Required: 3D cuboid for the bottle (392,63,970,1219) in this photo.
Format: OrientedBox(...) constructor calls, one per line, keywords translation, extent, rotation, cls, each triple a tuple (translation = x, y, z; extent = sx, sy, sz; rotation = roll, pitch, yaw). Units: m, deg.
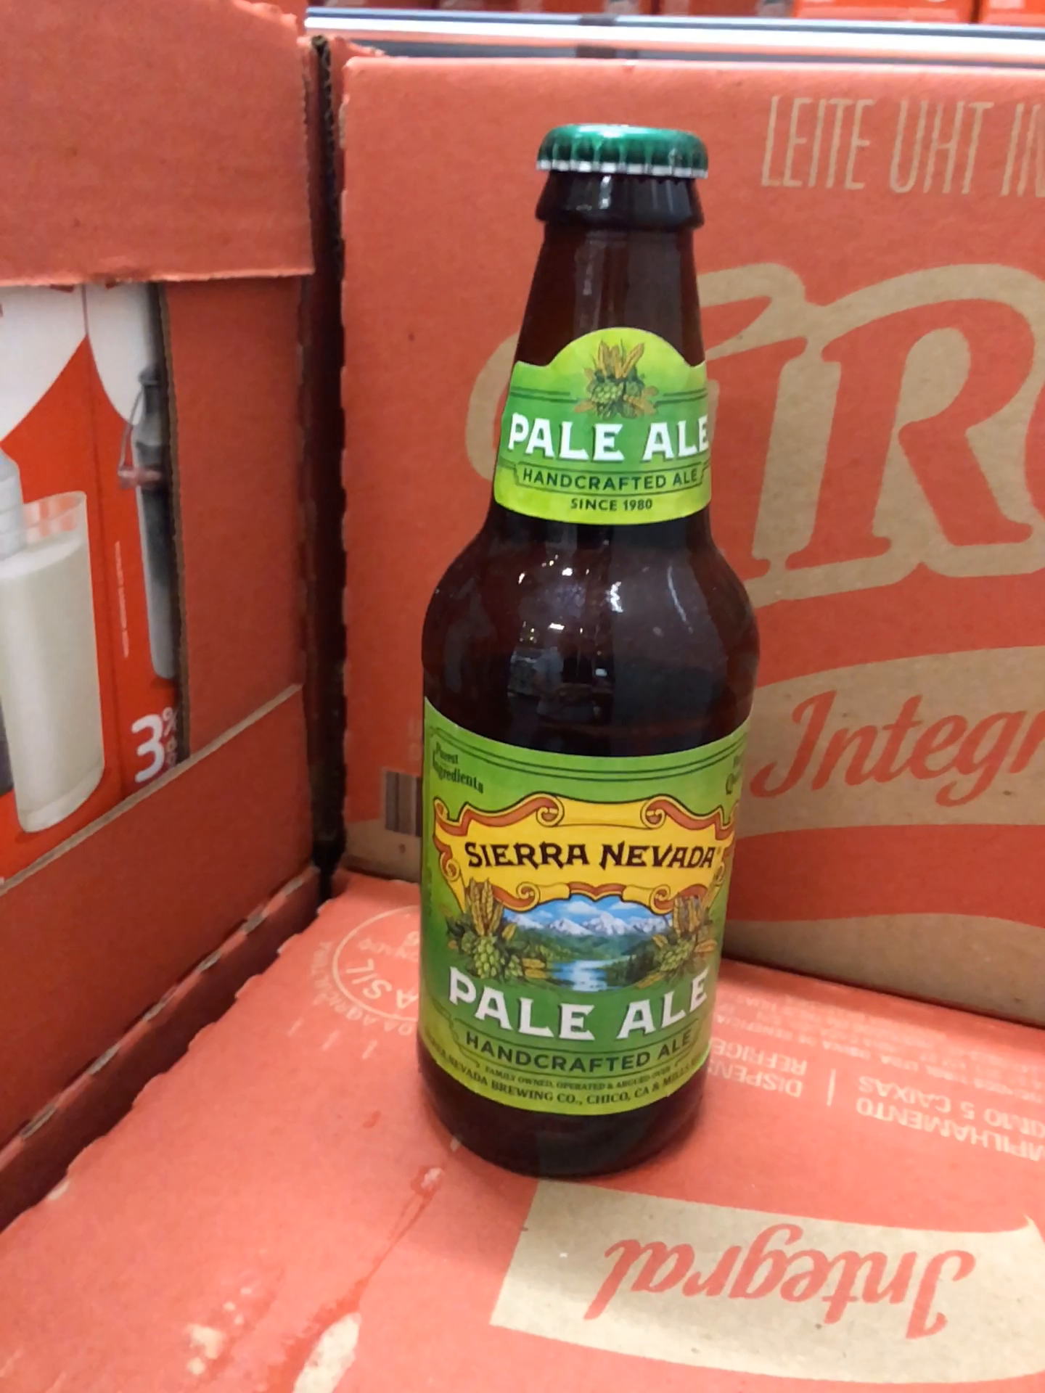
OrientedBox(translation=(0.019, -0.004, 0.216), extent=(0.070, 0.189, 0.060), rotation=(5, 21, 2), cls="bottle")
